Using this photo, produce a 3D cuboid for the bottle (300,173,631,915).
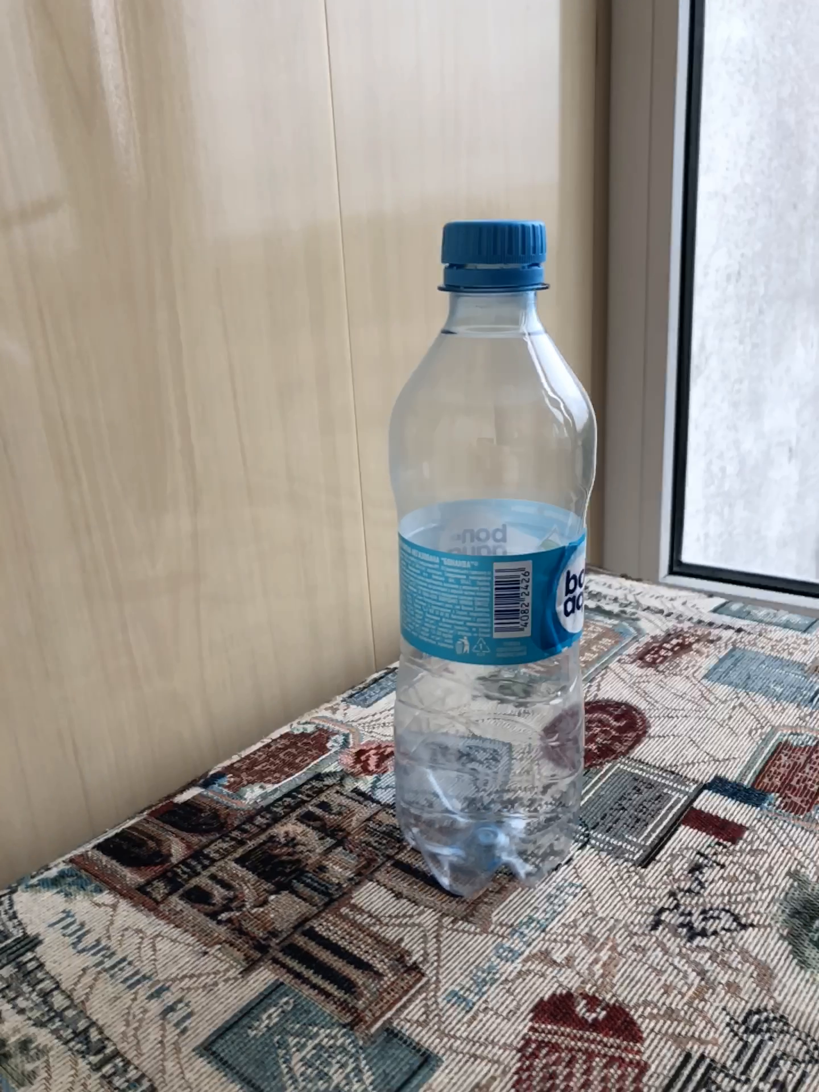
[{"bbox_3d":[0.026,-0.003,0.290,0.070,0.209,0.080,5,20,25],"label":"bottle"}]
